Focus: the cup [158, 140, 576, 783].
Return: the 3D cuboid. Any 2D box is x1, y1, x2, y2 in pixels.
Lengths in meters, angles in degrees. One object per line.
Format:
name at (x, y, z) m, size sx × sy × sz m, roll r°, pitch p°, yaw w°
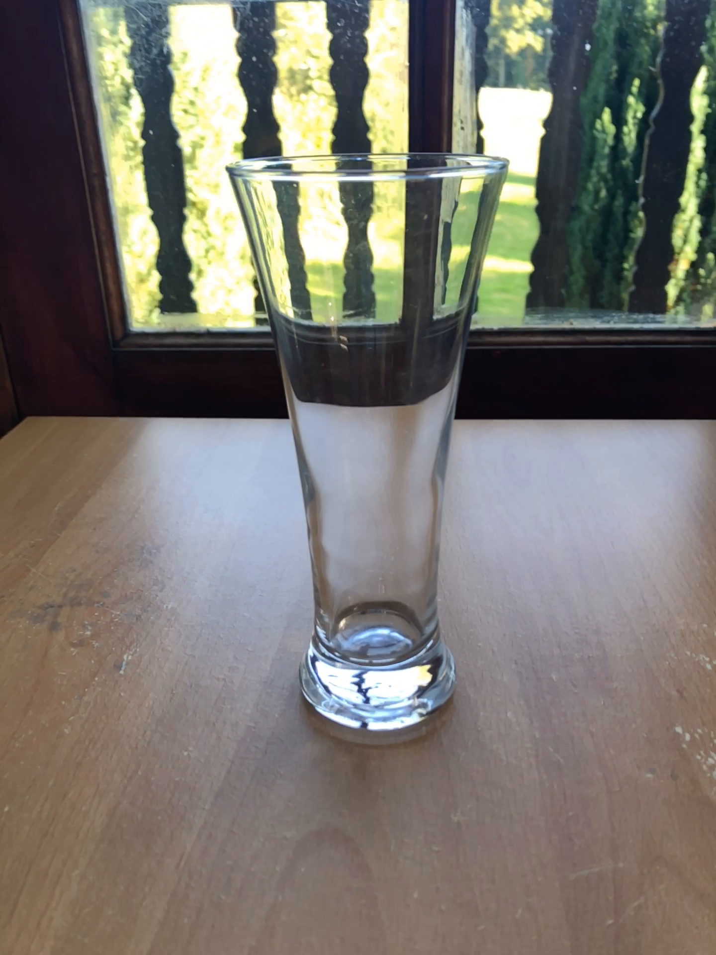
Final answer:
cup at (0.002, -0.012, 0.246) m, size 0.082 × 0.168 × 0.077 m, roll 0°, pitch 24°, yaw 0°
